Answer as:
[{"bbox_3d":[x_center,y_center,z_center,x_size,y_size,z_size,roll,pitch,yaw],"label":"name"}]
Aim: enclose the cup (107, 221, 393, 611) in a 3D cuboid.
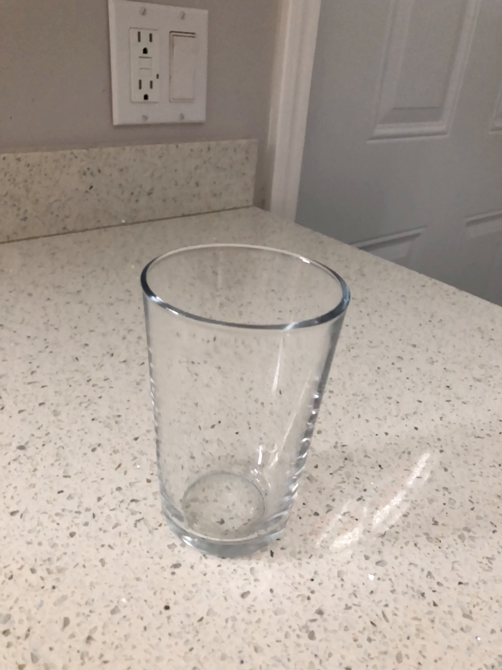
[{"bbox_3d":[0.001,0.027,0.219,0.080,0.114,0.074,4,29,-2],"label":"cup"}]
